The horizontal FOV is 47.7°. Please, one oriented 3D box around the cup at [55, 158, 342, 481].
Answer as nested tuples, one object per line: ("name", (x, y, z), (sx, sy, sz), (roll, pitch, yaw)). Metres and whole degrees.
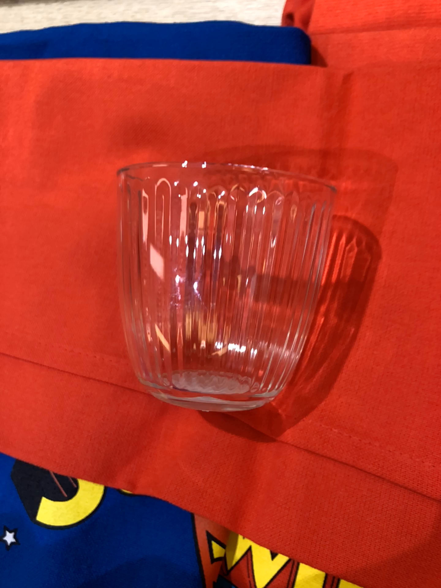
("cup", (-0.006, 0.002, 0.182), (0.080, 0.060, 0.090), (8, 97, 22))
